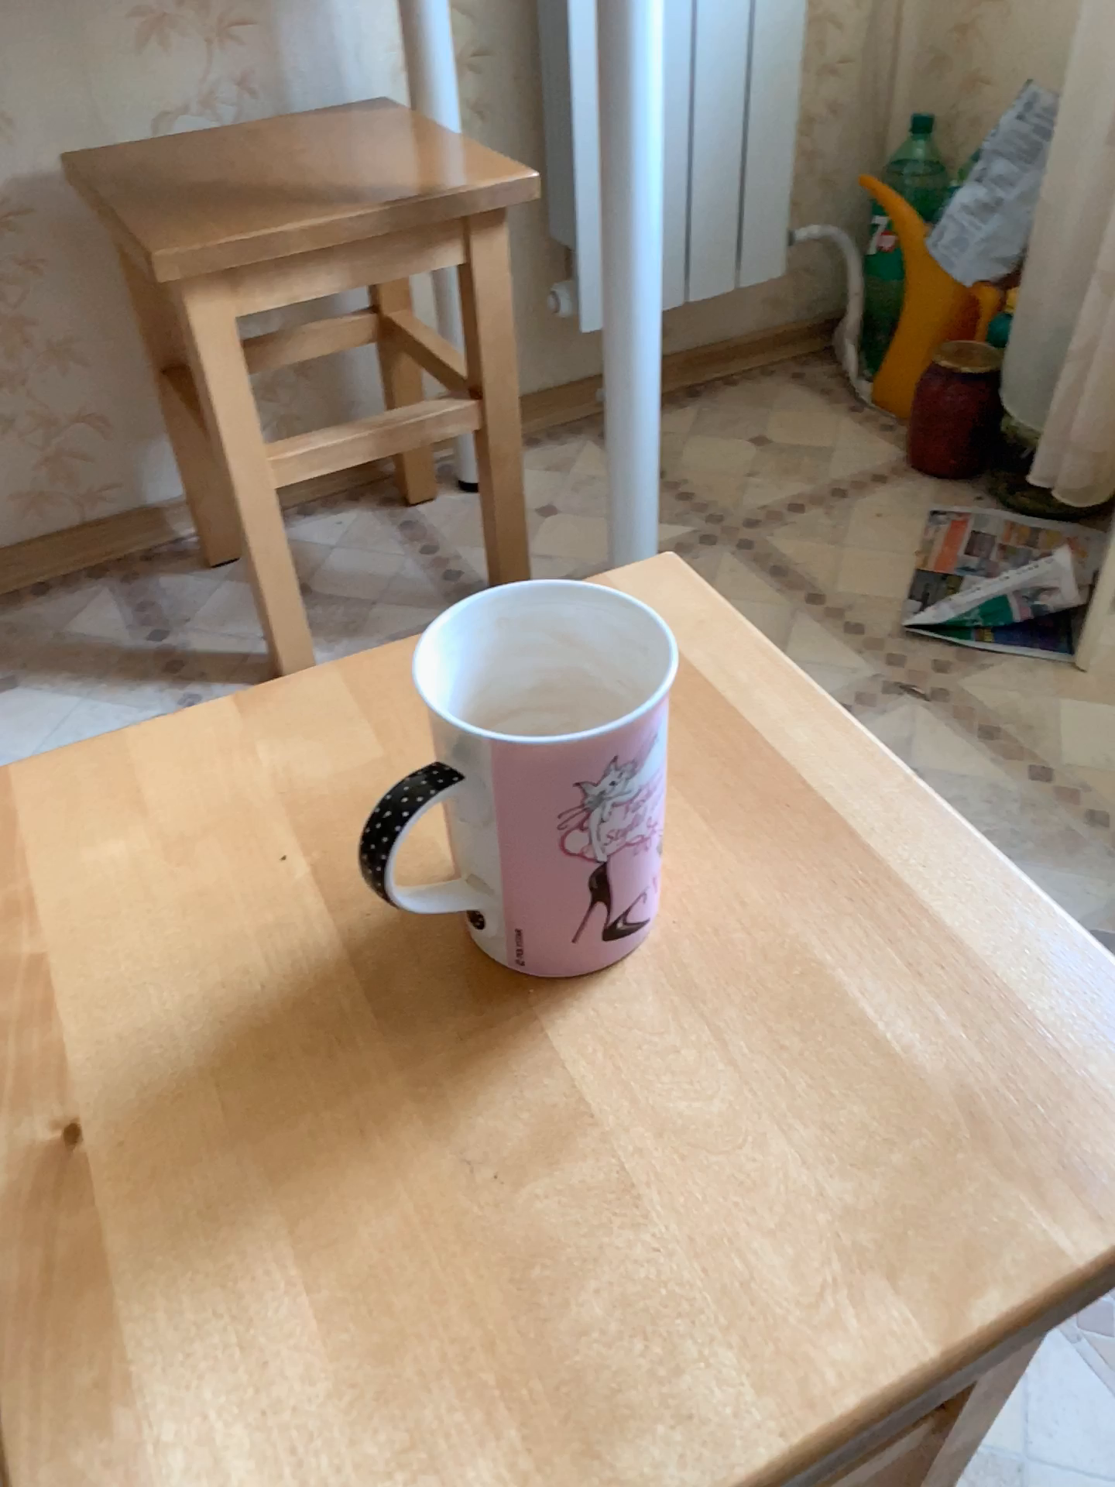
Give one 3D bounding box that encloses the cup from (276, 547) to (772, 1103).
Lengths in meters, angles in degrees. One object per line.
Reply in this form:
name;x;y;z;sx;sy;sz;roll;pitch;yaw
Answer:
cup;-0.006;0.020;0.343;0.110;0.099;0.080;-34;50;-30
